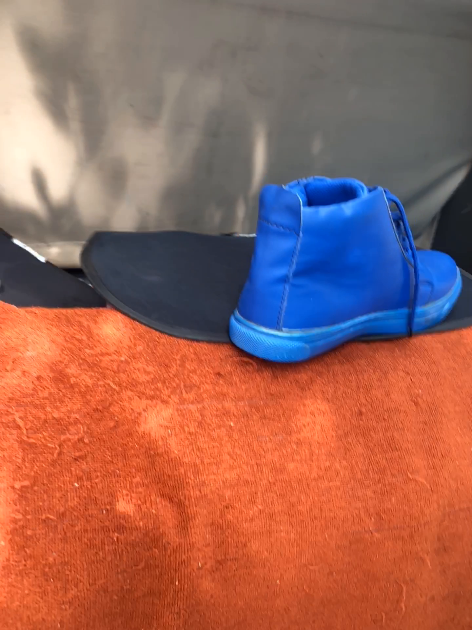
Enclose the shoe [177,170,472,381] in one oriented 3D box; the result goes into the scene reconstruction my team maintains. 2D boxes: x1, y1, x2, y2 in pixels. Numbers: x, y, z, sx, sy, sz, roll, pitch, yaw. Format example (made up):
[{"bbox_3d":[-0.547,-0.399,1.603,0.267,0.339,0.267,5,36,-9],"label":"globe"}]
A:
[{"bbox_3d":[0.113,-0.058,0.488,0.301,0.119,0.130,-12,32,-35],"label":"shoe"}]
